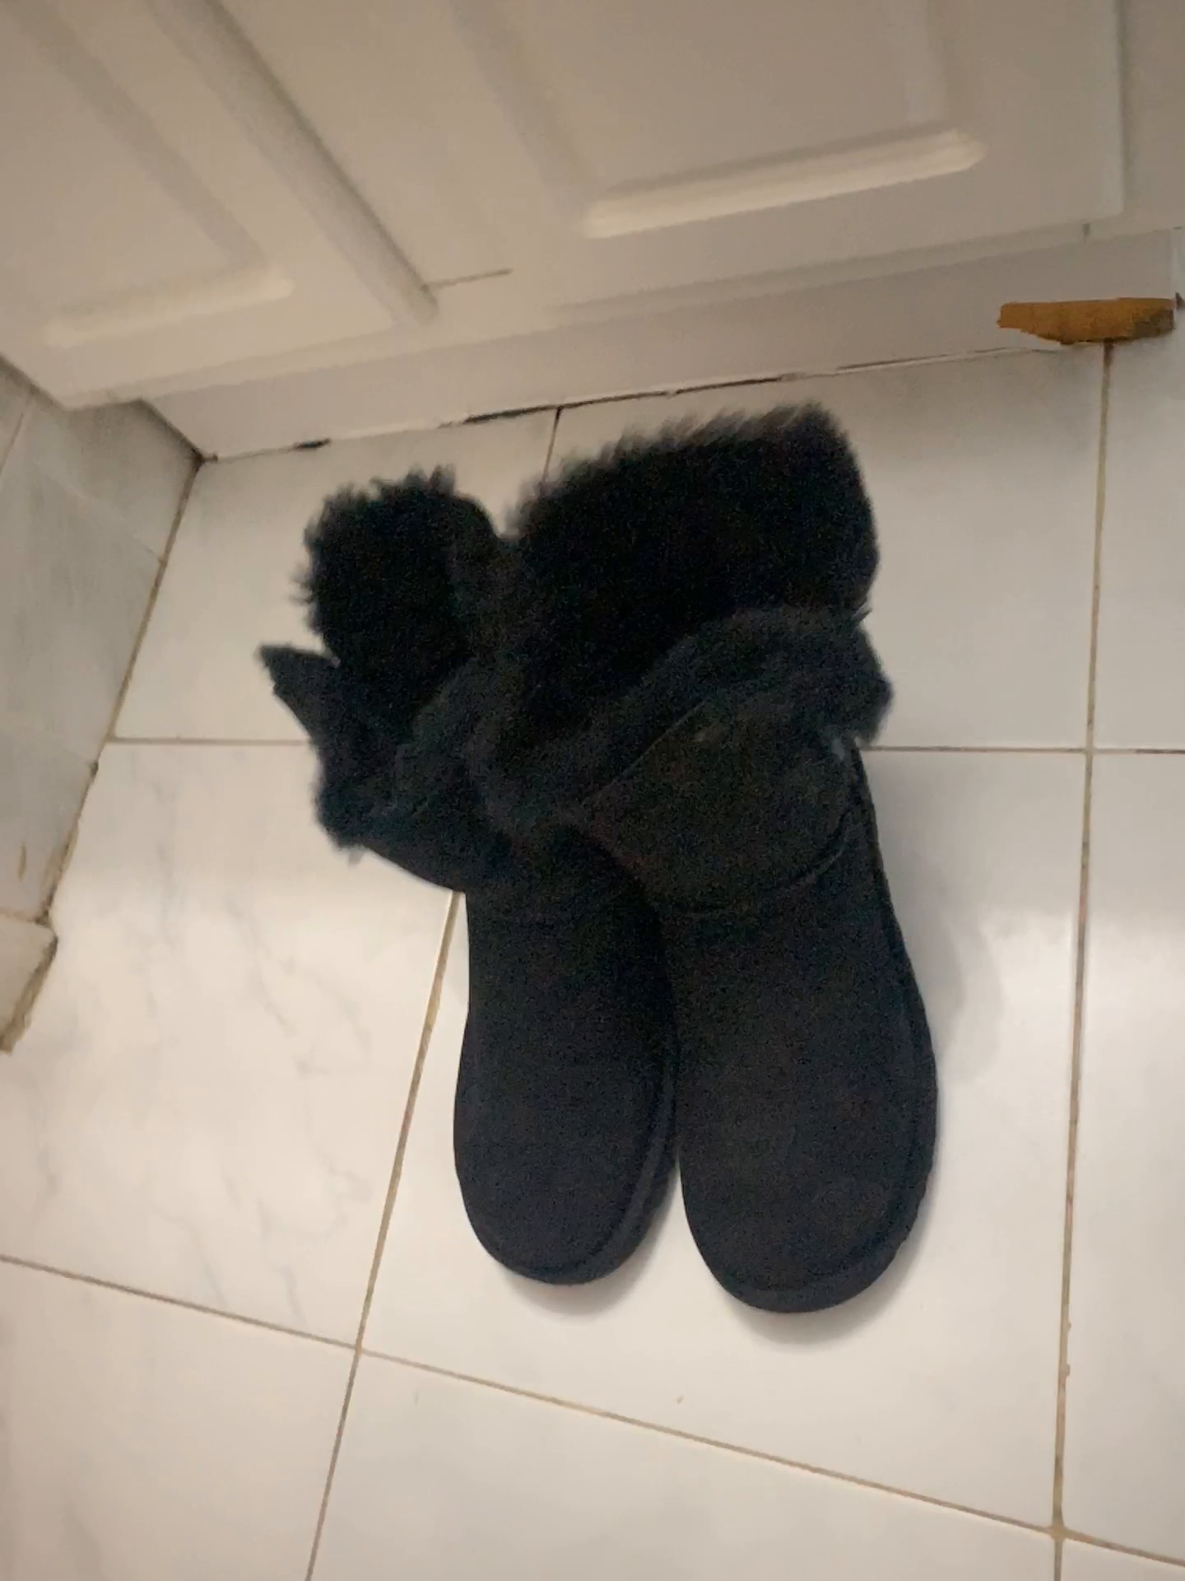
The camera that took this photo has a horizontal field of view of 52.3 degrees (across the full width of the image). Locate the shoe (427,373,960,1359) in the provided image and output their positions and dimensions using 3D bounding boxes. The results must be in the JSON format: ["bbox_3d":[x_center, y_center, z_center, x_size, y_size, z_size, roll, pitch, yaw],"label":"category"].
[{"bbox_3d":[0.049,0.039,0.428,0.110,0.189,0.281,-7,66,22],"label":"shoe"}]

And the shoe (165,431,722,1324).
[{"bbox_3d":[-0.040,0.045,0.467,0.120,0.170,0.291,-10,66,21],"label":"shoe"}]
